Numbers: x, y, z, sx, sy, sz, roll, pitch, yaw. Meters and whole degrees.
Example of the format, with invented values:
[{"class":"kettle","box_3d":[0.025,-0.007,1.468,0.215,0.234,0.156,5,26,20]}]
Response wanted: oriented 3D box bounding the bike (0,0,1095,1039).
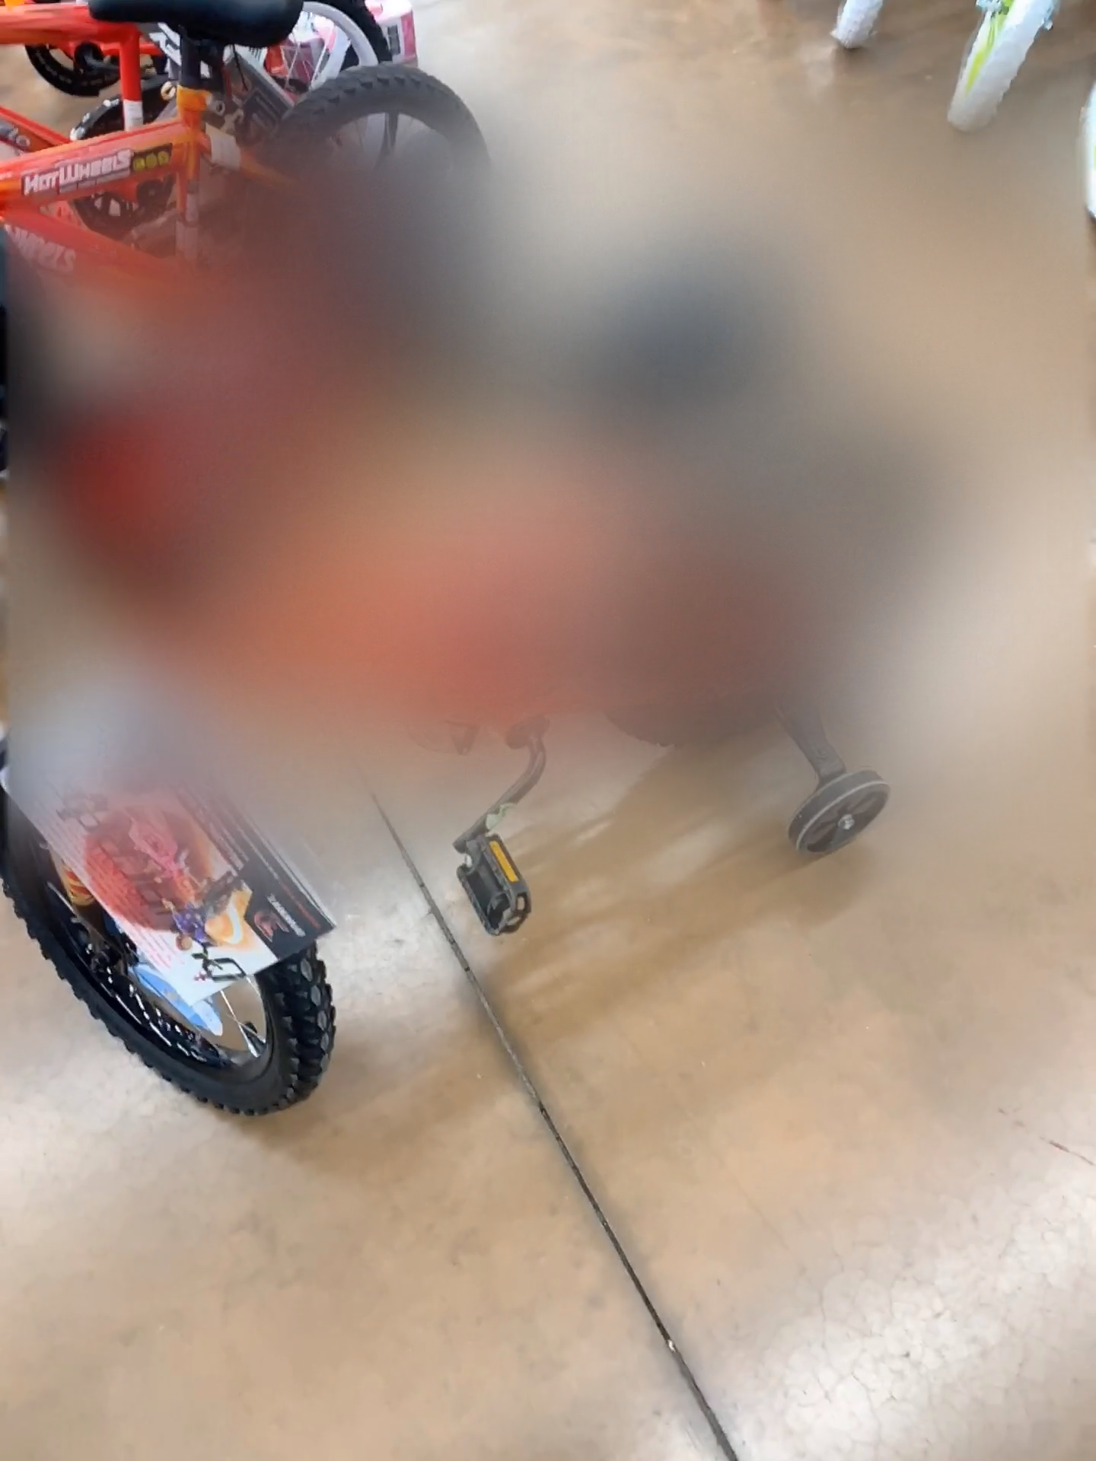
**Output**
[{"class":"bike","box_3d":[-0.122,-0.218,1.026,0.994,0.821,0.504,-22,56,-4]}]
